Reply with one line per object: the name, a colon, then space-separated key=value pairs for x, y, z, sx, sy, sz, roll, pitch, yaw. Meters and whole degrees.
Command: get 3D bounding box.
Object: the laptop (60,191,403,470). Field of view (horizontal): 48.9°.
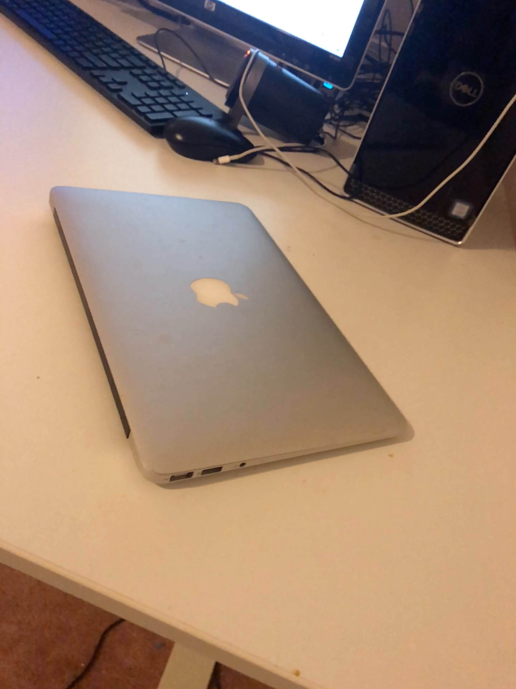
laptop: x=-0.035 y=-0.036 z=0.446 sx=0.178 sy=0.004 sz=0.292 roll=-4 pitch=45 yaw=-30
